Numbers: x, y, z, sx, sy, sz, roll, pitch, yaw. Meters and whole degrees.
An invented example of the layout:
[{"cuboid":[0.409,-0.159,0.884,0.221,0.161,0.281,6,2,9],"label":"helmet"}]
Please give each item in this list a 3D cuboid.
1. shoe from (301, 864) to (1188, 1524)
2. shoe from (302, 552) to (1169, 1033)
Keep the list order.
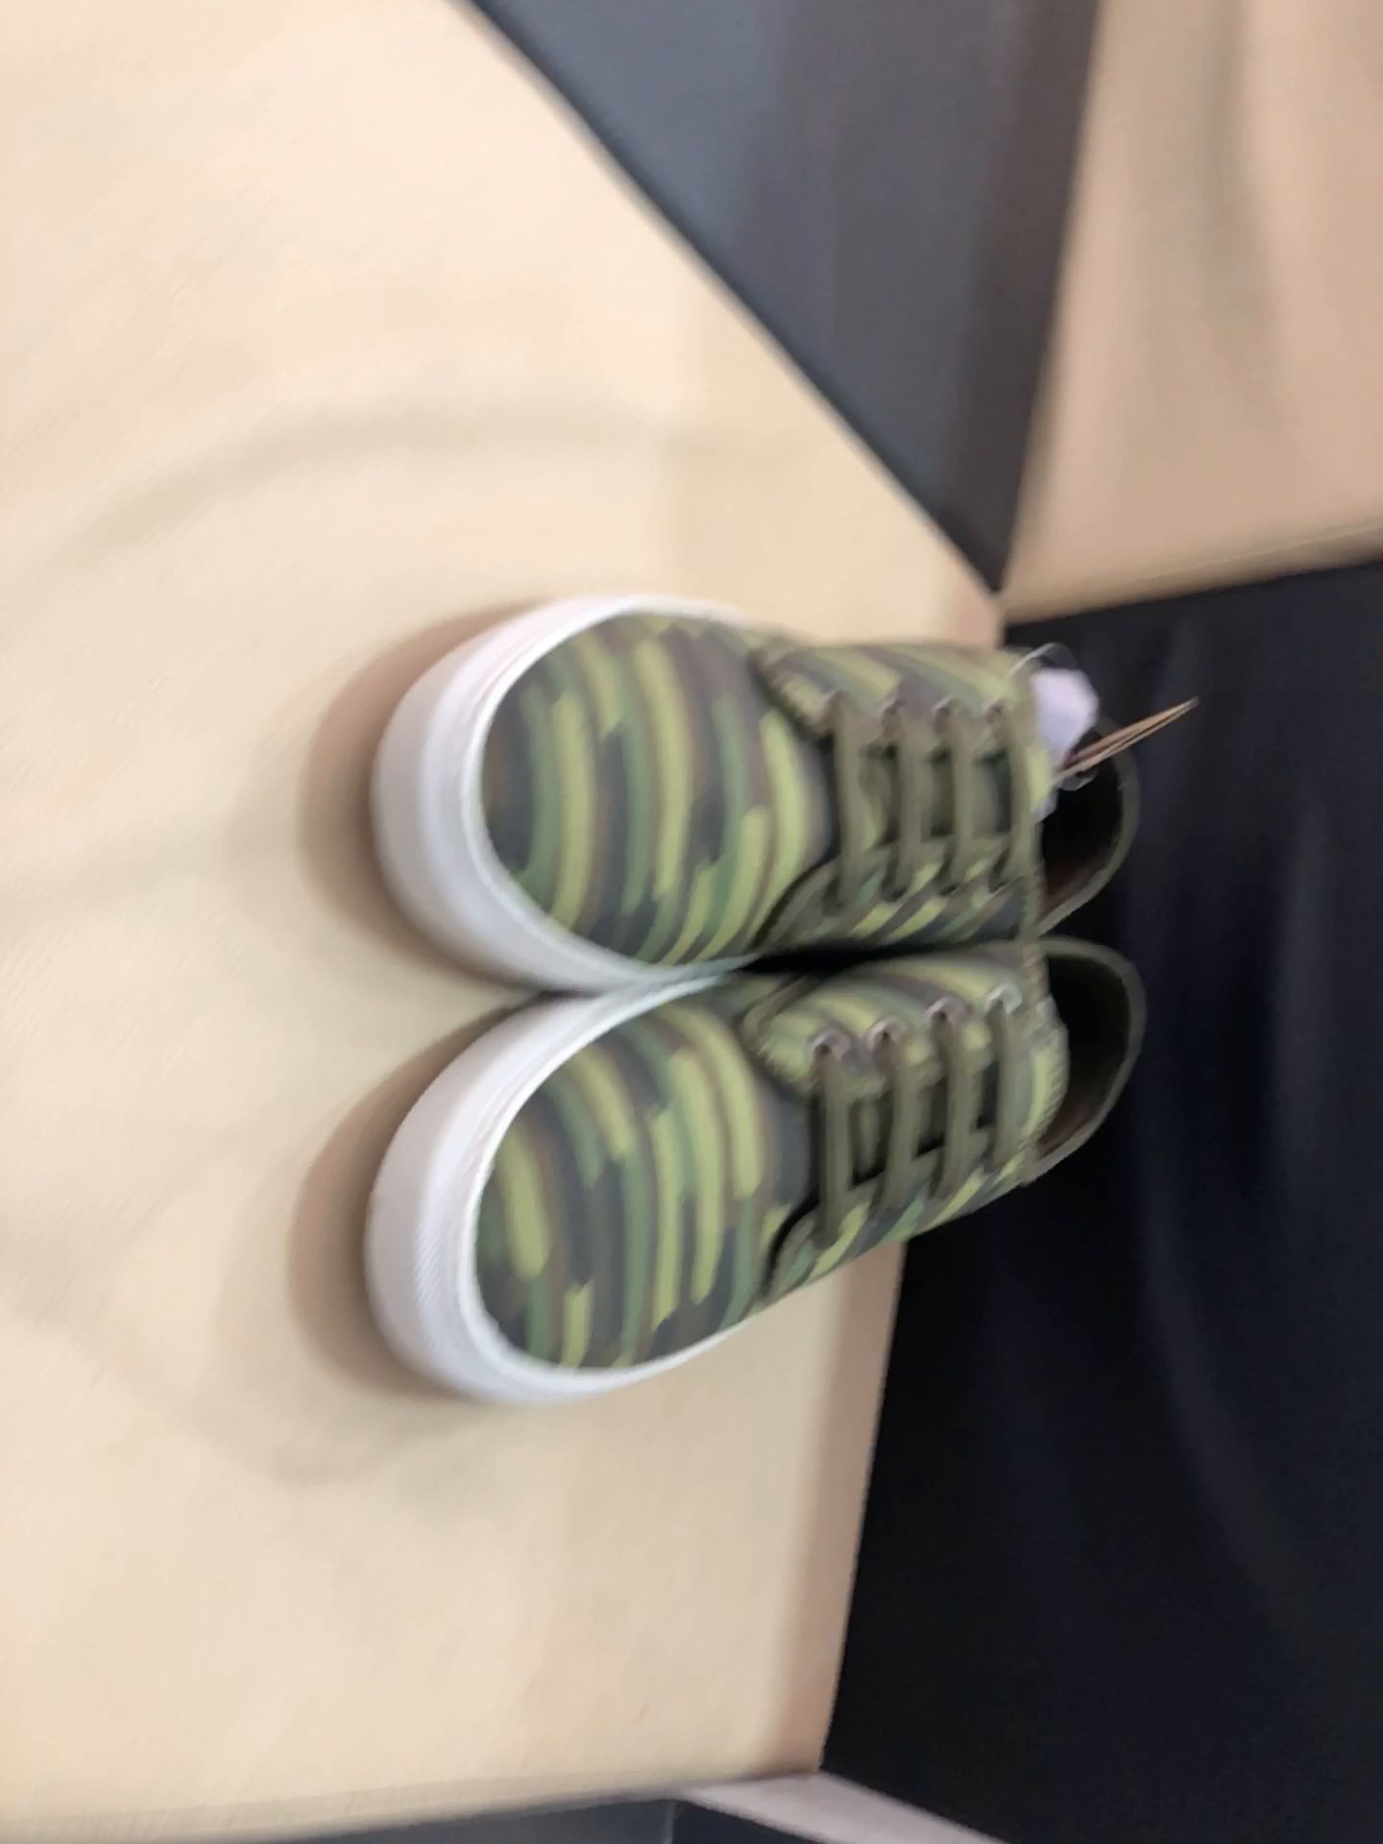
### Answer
[{"cuboid":[0.044,0.052,0.452,0.312,0.079,0.100,-13,98,-50],"label":"shoe"},{"cuboid":[0.041,-0.047,0.464,0.312,0.079,0.100,-13,98,-50],"label":"shoe"}]
